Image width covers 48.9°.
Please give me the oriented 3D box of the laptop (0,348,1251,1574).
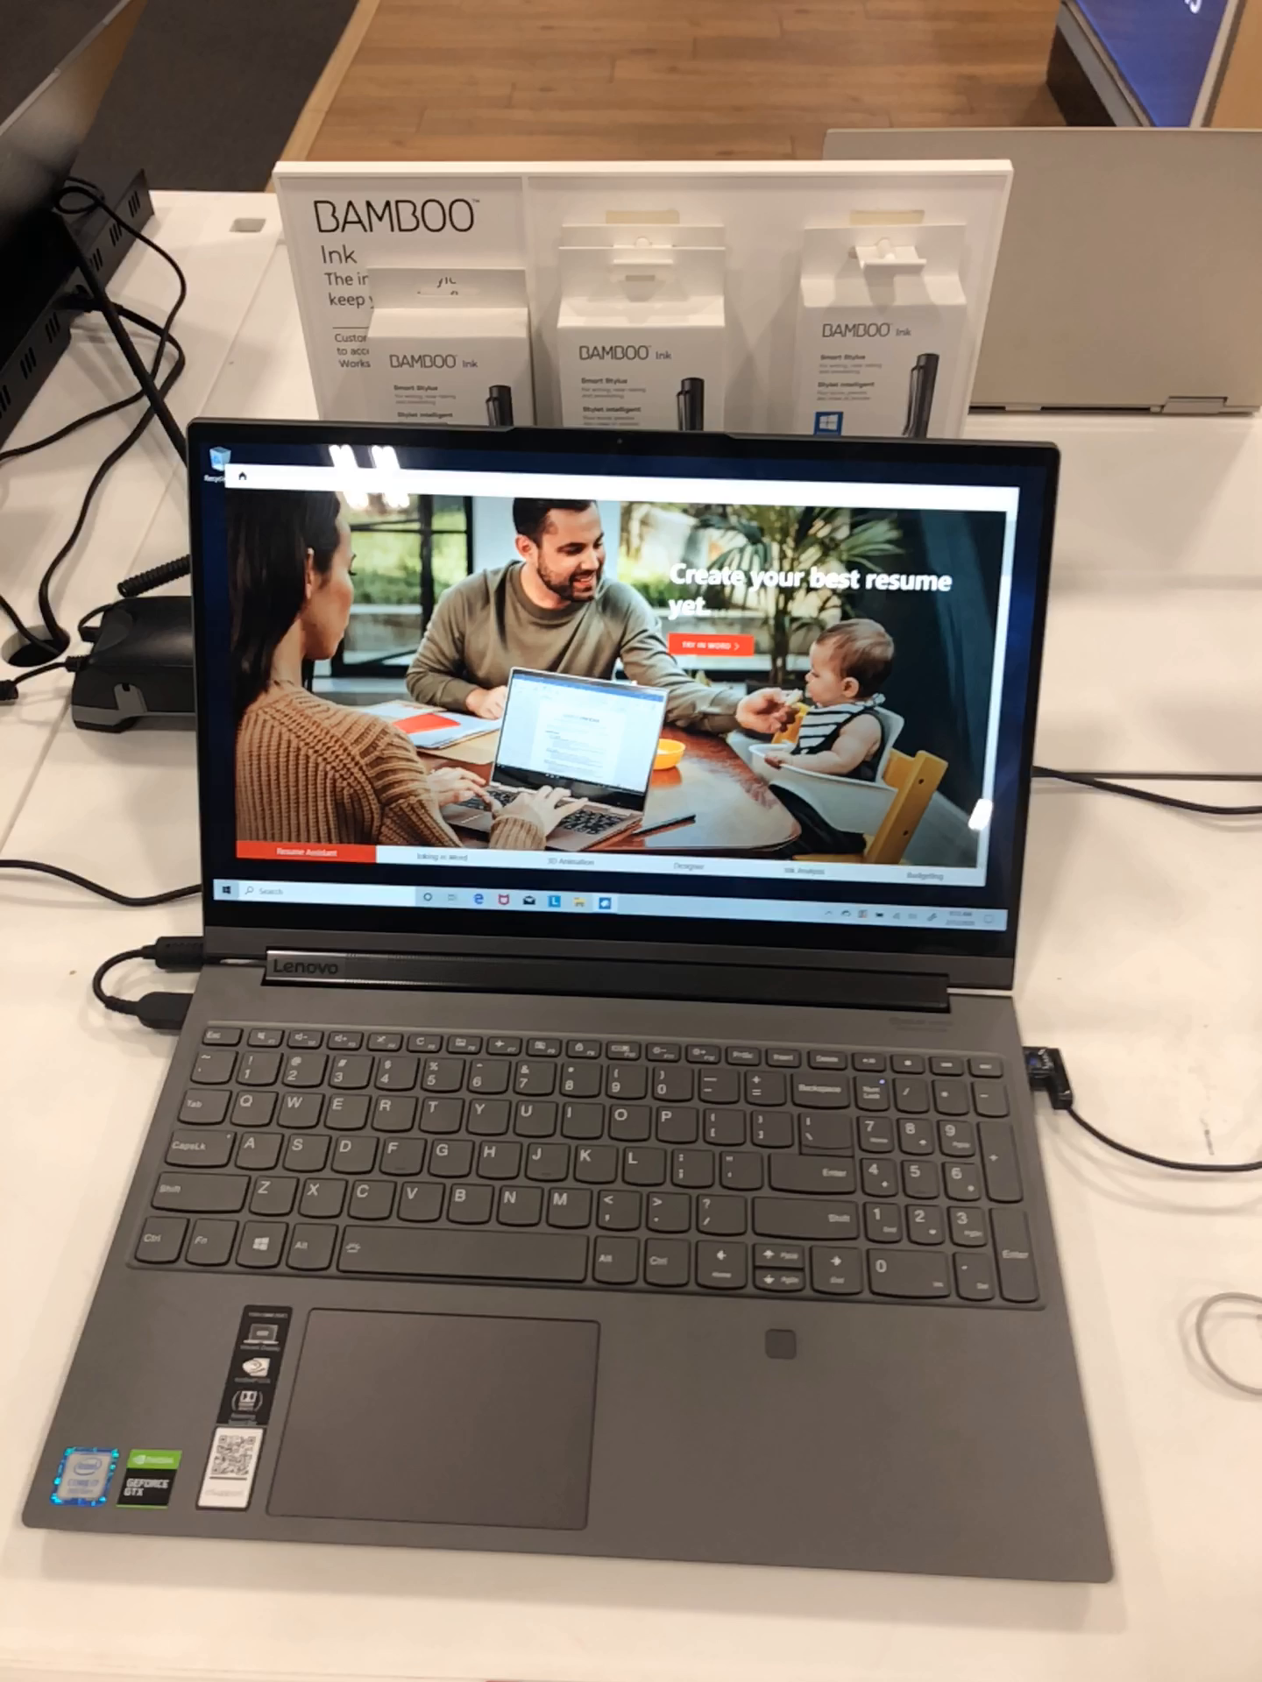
[{"bbox_3d":[-0.014,0.021,0.505,0.336,0.169,0.375,2,53,1],"label":"laptop"}]
